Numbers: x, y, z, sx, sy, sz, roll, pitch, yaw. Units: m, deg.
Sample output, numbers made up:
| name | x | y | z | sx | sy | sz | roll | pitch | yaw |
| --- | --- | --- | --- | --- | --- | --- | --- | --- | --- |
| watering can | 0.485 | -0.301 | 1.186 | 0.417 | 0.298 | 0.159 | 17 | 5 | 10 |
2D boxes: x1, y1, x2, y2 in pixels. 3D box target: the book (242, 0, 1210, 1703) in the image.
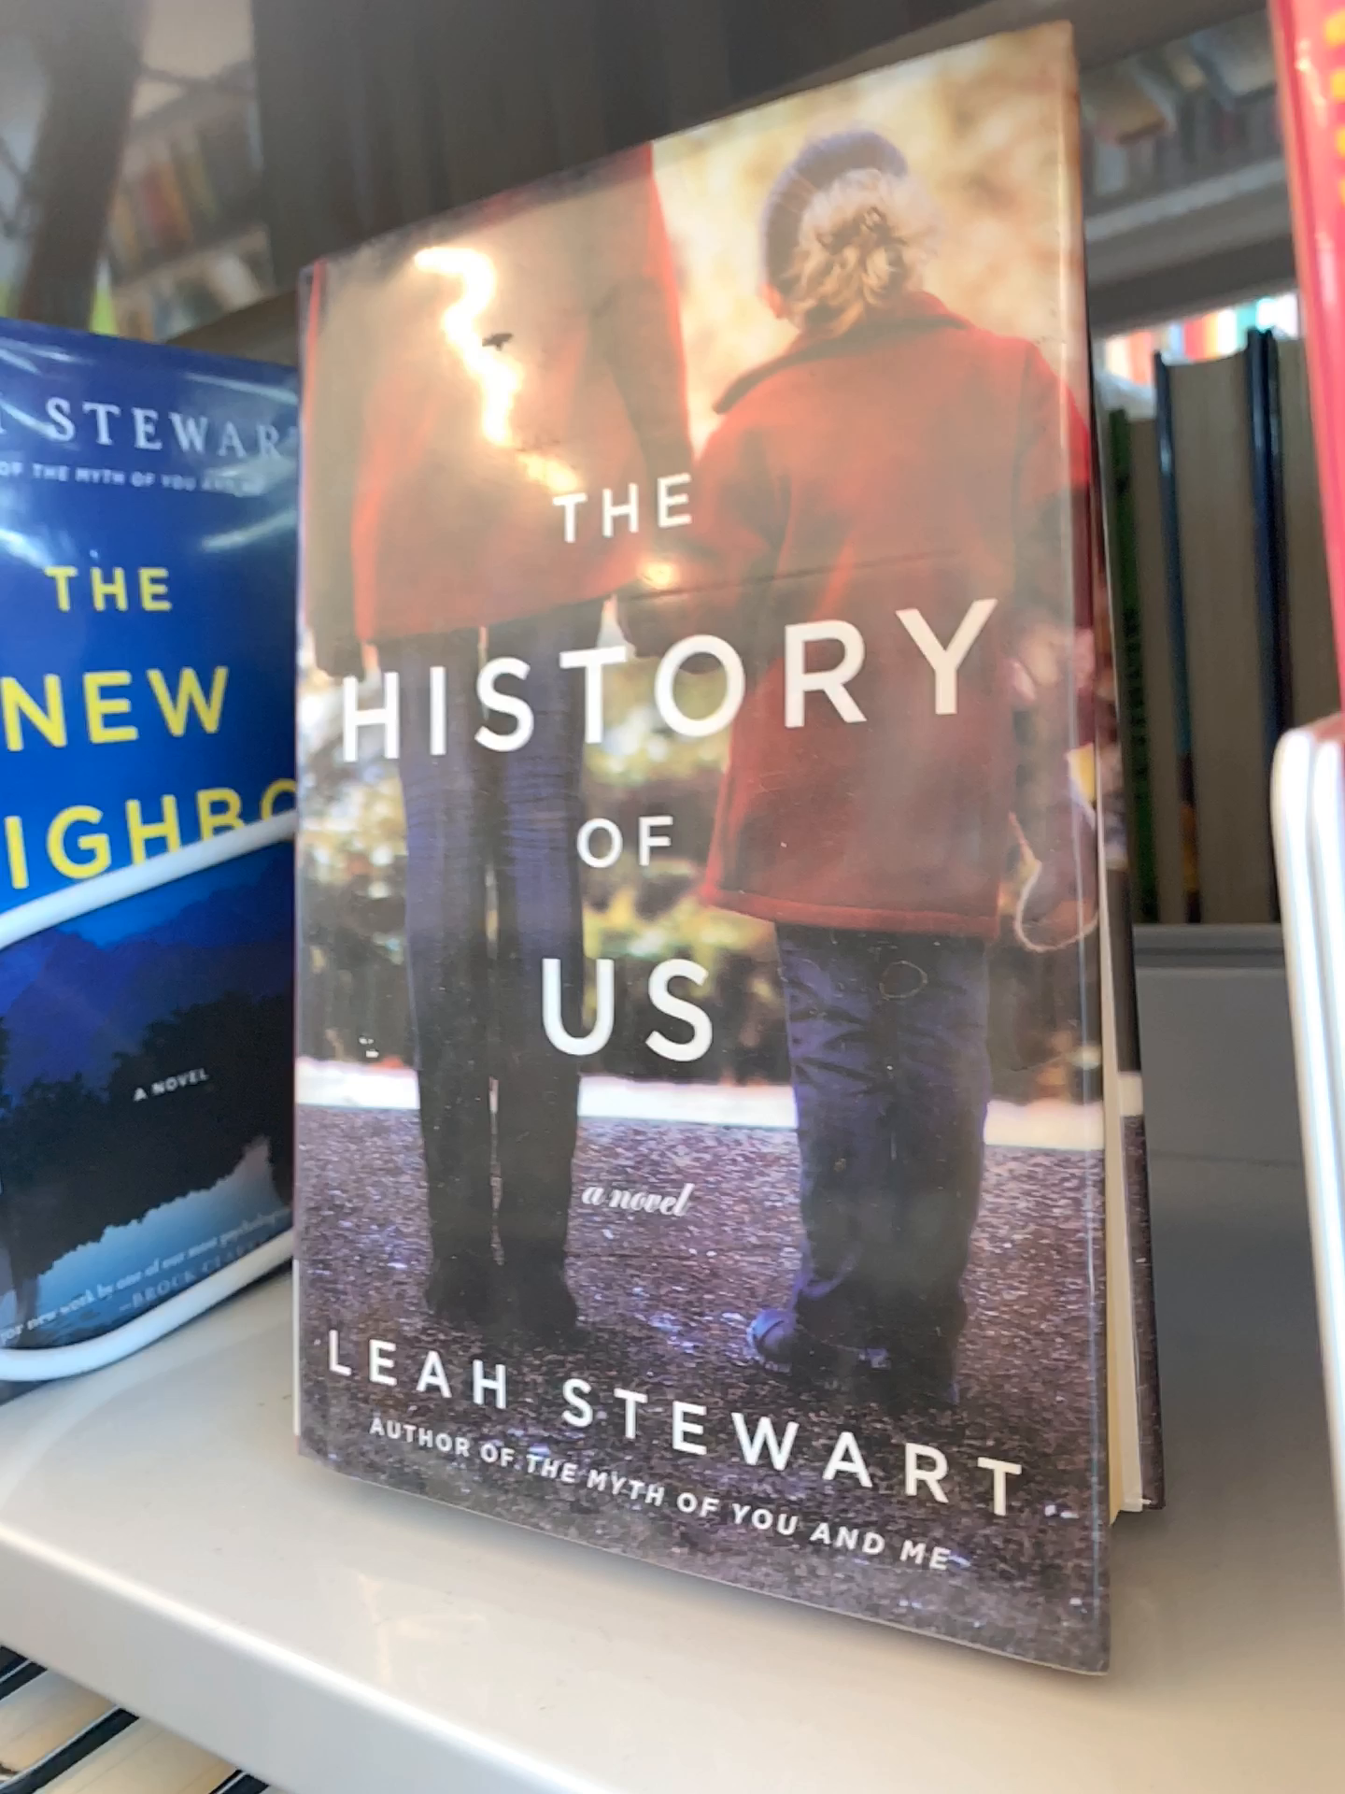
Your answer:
| name | x | y | z | sx | sy | sz | roll | pitch | yaw |
| --- | --- | --- | --- | --- | --- | --- | --- | --- | --- |
| book | -0.001 | -0.010 | 0.232 | 0.153 | 0.220 | 0.040 | -3 | -2 | 34 |
